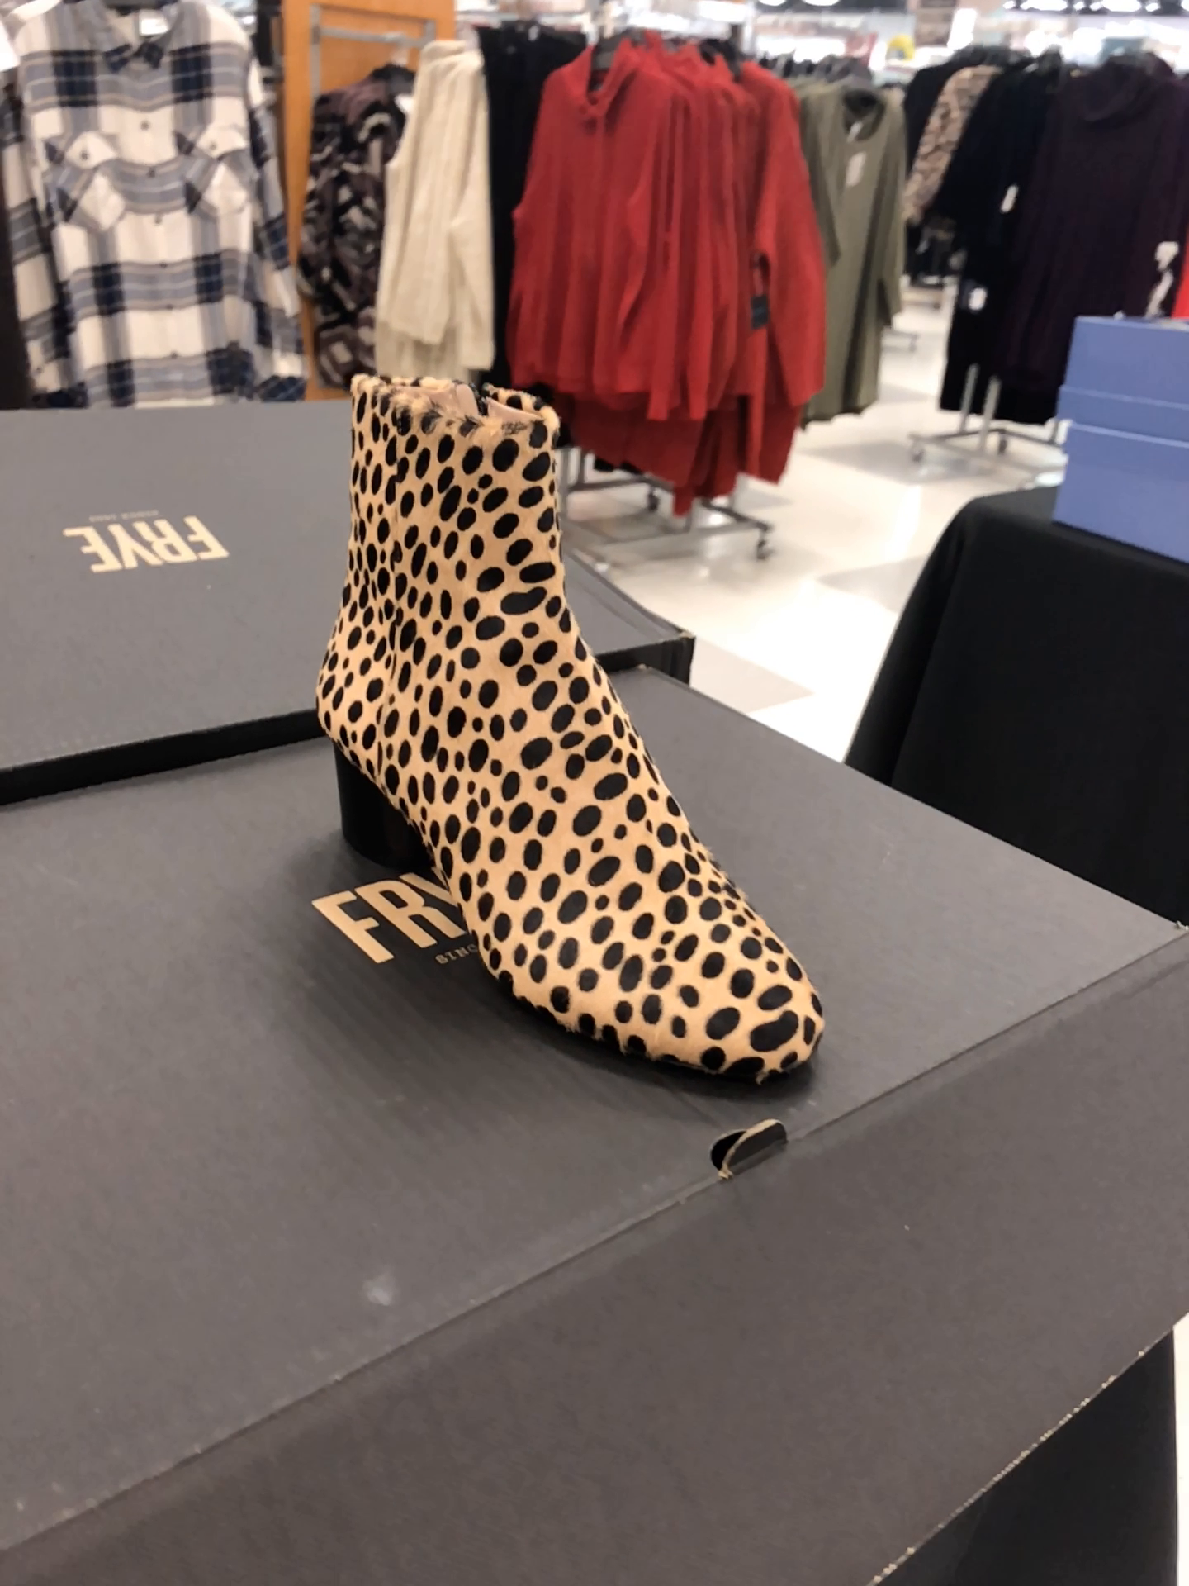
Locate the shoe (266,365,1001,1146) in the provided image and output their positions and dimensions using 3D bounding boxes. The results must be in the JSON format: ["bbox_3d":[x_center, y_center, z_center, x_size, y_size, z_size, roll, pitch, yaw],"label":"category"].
[{"bbox_3d":[-0.011,-0.035,0.441,0.093,0.164,0.249,-15,33,-35],"label":"shoe"}]
